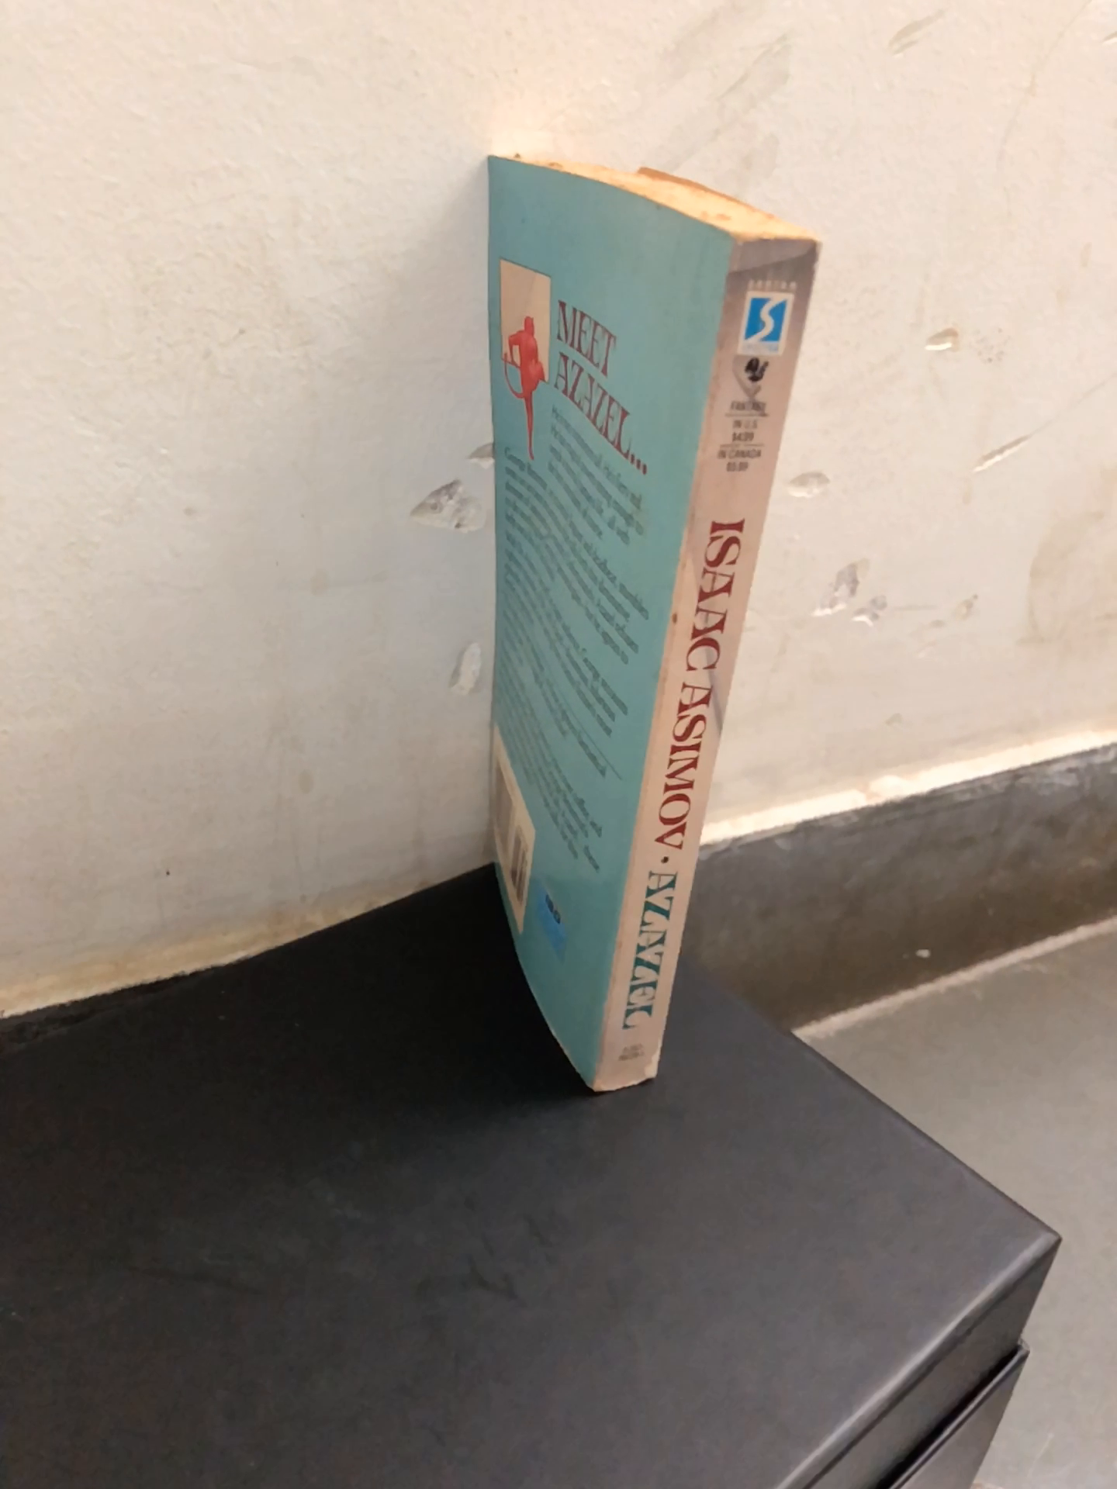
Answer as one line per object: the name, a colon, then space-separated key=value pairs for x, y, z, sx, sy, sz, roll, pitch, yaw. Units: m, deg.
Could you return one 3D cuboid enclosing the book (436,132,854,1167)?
book: x=0.003 y=-0.029 z=0.288 sx=0.030 sy=0.189 sz=0.151 roll=-7 pitch=31 yaw=-16
